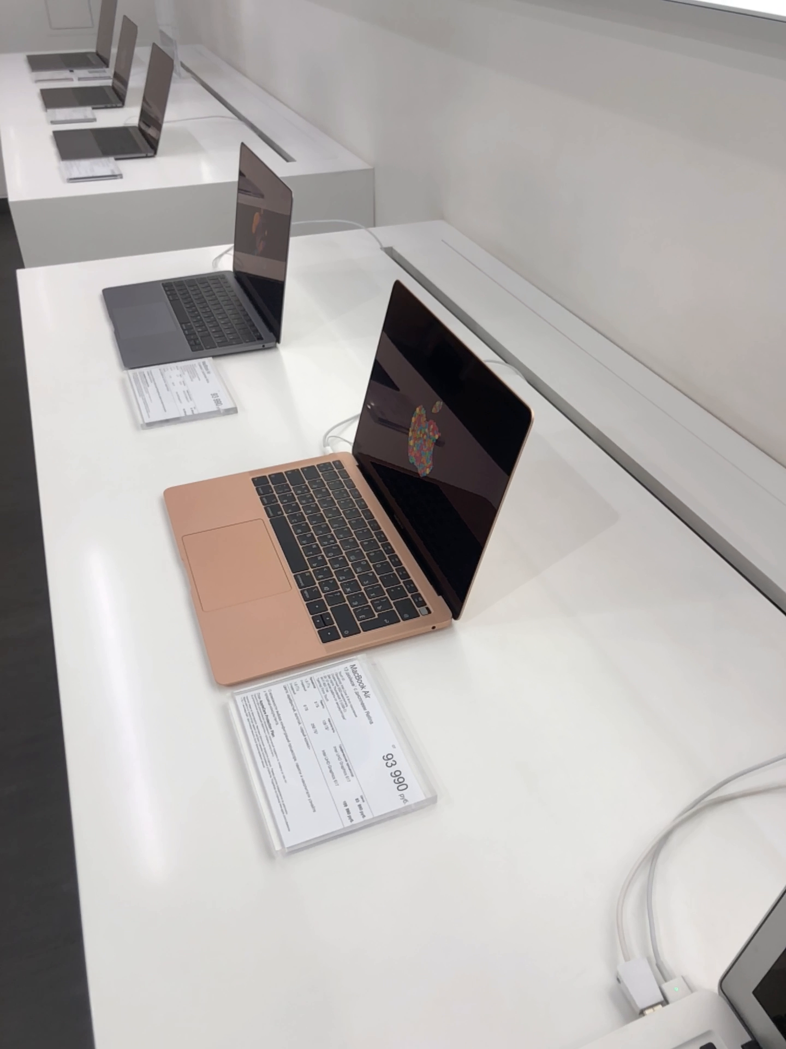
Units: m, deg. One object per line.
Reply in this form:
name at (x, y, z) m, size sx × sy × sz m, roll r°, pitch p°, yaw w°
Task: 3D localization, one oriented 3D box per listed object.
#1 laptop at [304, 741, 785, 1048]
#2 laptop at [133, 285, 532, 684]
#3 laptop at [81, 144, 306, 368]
laptop at (0.172, 0.311, 0.271) m, size 0.282 × 0.209 × 0.365 m, roll -13°, pitch 39°, yaw -17°
laptop at (-0.070, -0.058, 0.786) m, size 0.263 × 0.188 × 0.298 m, roll -13°, pitch 38°, yaw -15°
laptop at (-0.295, -0.403, 1.257) m, size 0.248 × 0.204 × 0.295 m, roll -12°, pitch 38°, yaw -15°
